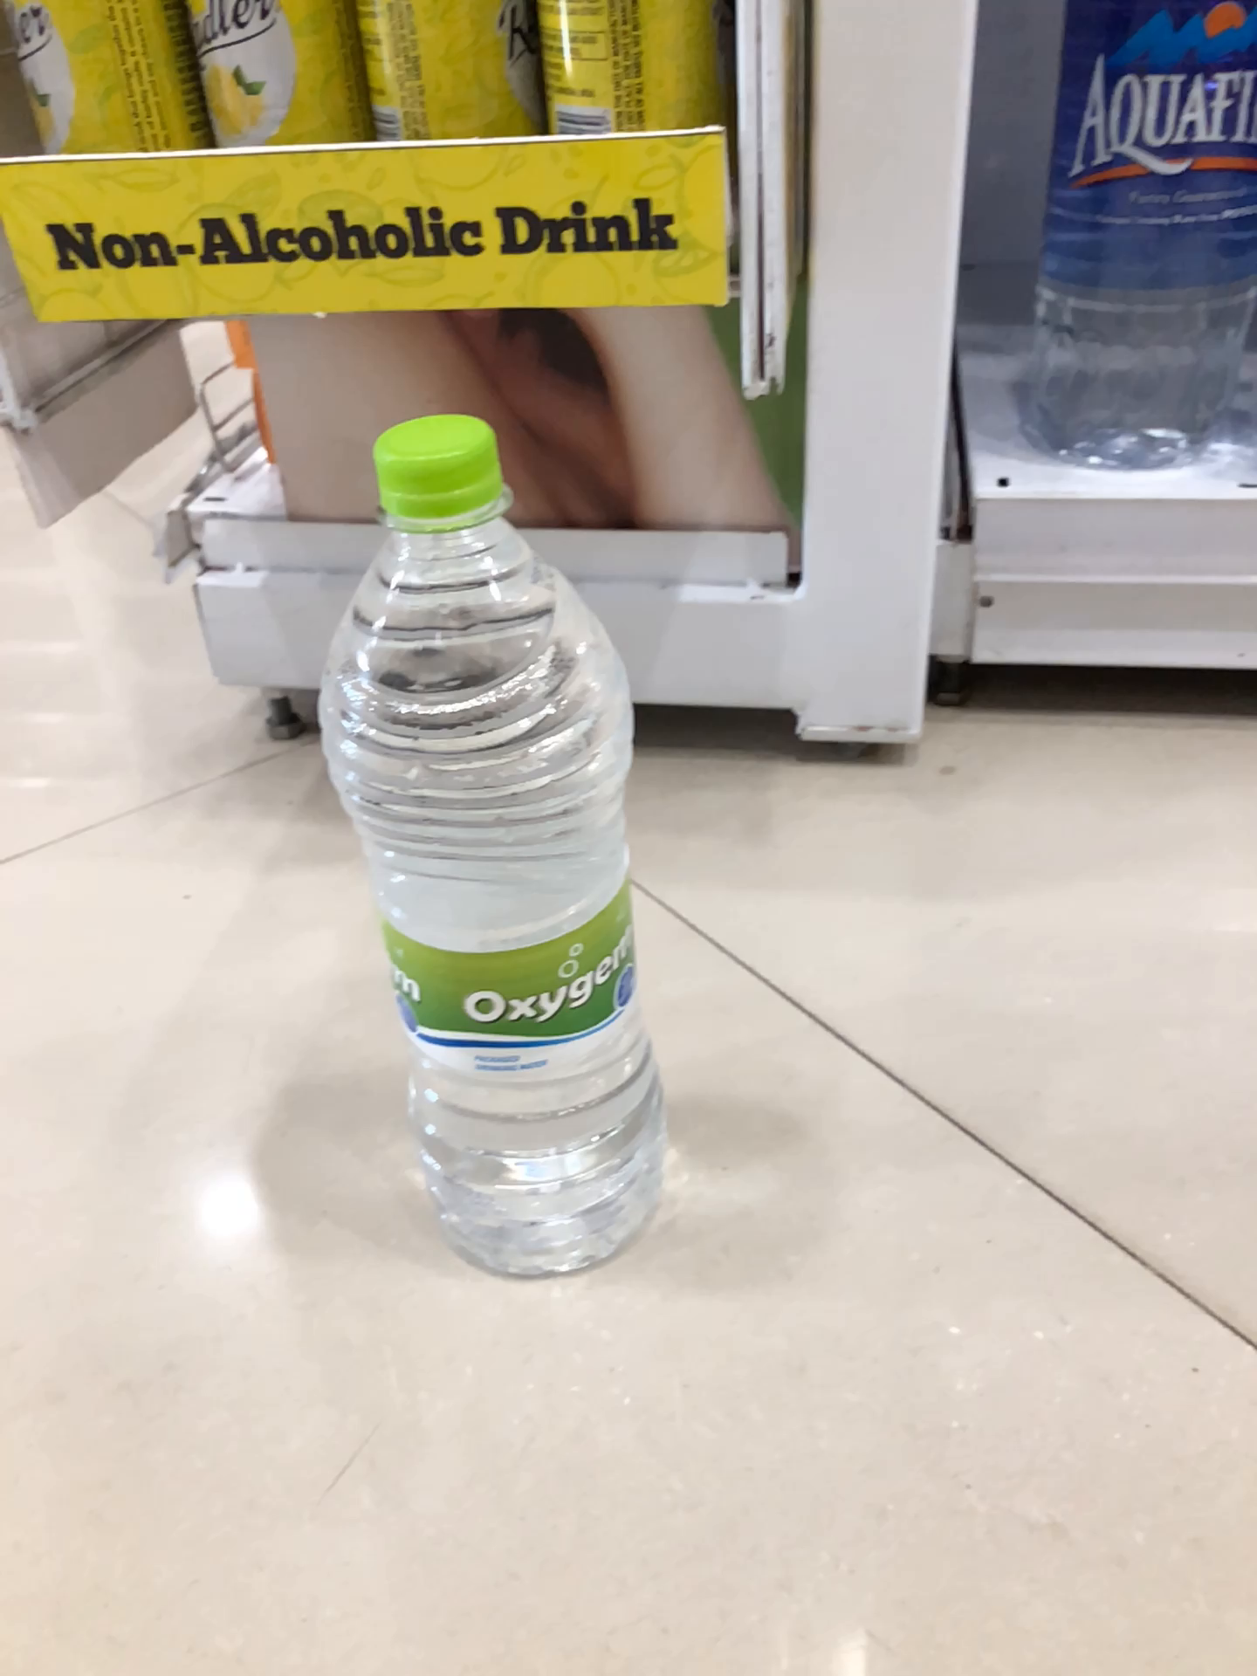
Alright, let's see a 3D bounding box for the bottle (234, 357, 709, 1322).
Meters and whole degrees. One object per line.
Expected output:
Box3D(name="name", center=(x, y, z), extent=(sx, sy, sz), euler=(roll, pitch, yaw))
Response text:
Box3D(name="bottle", center=(-0.036, 0.010, 0.398), extent=(0.090, 0.258, 0.080), euler=(-13, 34, -13))
